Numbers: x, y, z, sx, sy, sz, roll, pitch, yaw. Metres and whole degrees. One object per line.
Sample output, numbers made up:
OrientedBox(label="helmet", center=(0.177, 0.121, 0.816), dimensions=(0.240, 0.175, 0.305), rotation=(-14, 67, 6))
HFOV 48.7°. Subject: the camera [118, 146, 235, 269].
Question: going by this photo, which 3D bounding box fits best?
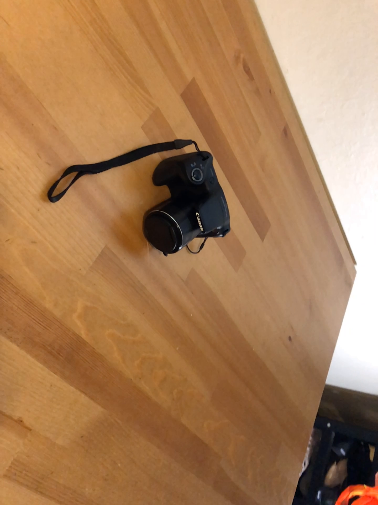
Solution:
OrientedBox(label="camera", center=(-0.010, -0.053, 0.492), dimensions=(0.097, 0.062, 0.109), rotation=(-40, 120, -42))
